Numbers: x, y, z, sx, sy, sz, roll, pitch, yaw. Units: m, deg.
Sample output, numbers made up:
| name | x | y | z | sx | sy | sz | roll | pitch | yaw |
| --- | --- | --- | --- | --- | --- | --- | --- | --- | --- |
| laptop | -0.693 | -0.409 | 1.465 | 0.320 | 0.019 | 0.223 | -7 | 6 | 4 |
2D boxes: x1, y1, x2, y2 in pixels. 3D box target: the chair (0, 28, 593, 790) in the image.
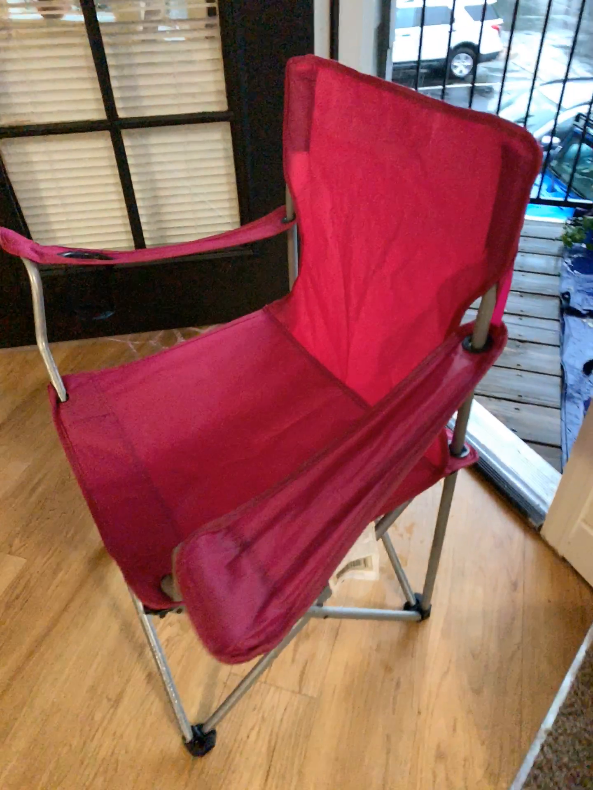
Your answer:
| name | x | y | z | sx | sy | sz | roll | pitch | yaw |
| --- | --- | --- | --- | --- | --- | --- | --- | --- | --- |
| chair | -0.031 | 0.007 | 0.859 | 0.670 | 0.776 | 0.653 | -19 | 43 | -20 |
